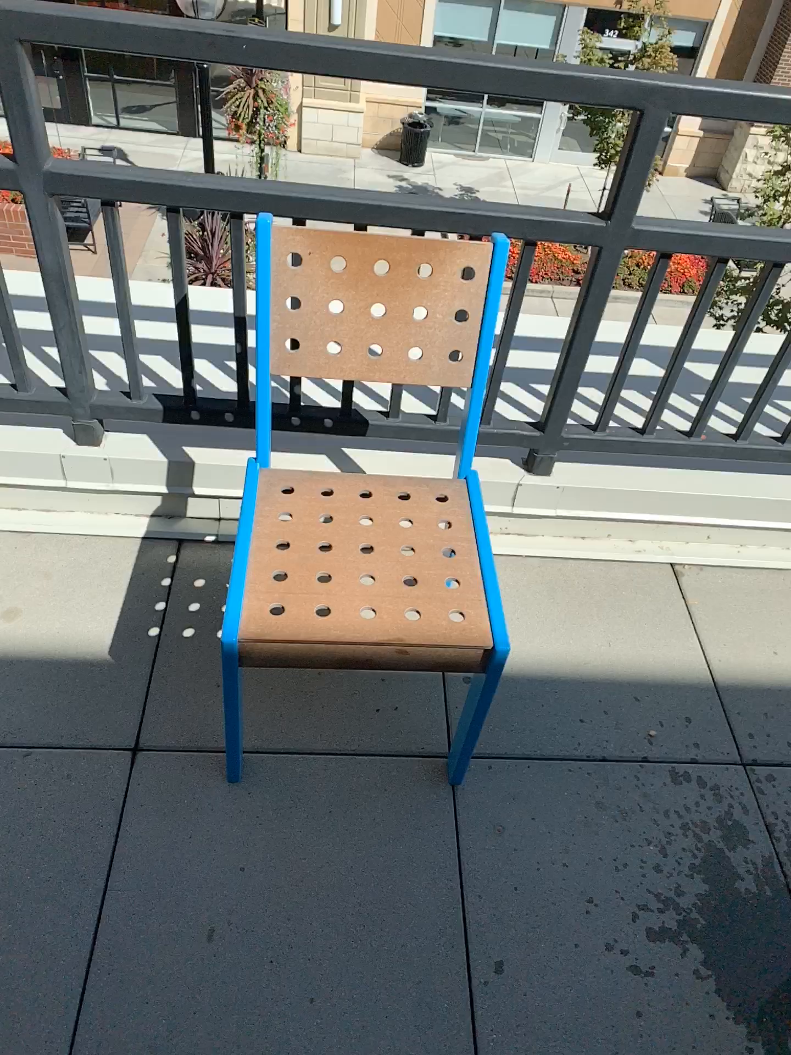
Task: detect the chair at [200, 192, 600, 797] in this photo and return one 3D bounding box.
[{"bbox_3d":[-0.046,-0.029,1.475,0.470,0.857,0.673,3,45,-6],"label":"chair"}]
